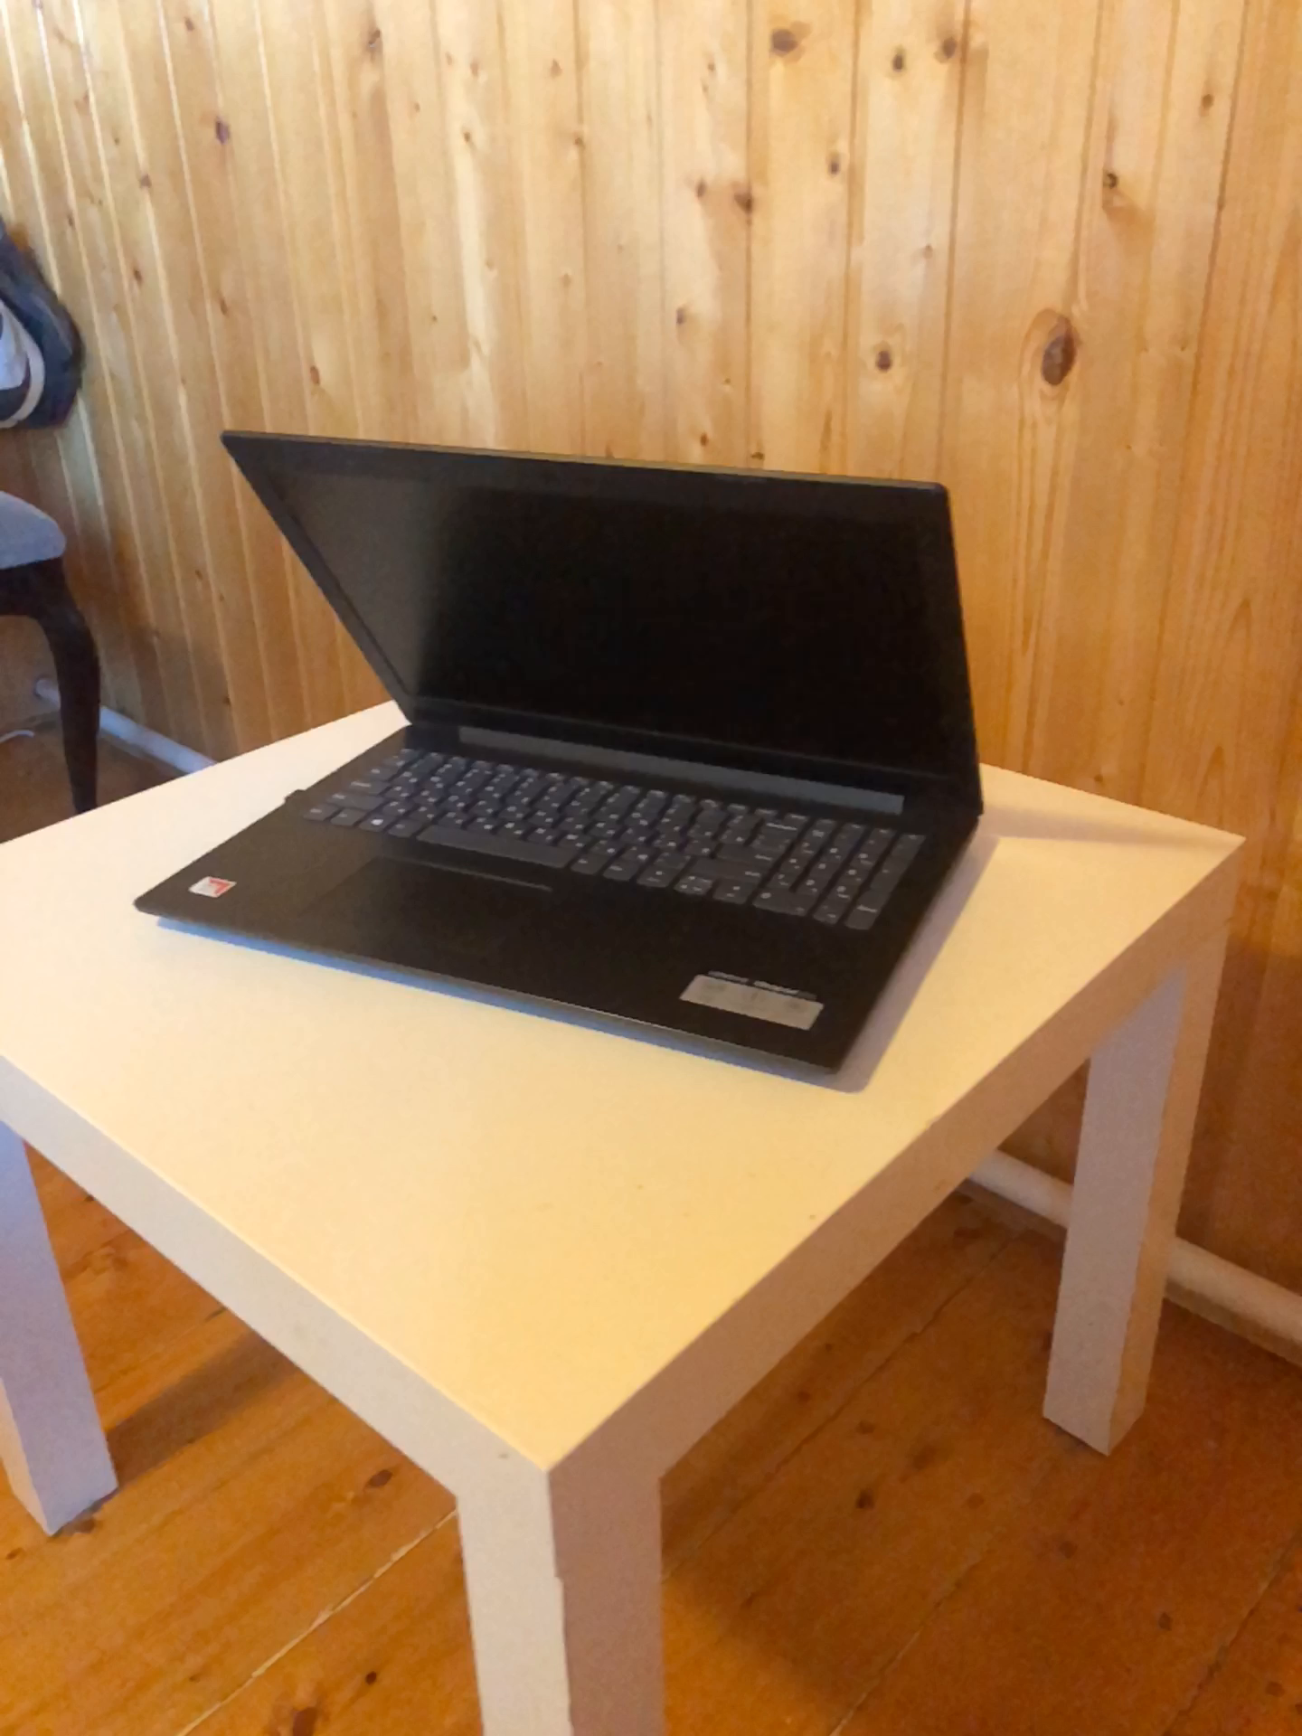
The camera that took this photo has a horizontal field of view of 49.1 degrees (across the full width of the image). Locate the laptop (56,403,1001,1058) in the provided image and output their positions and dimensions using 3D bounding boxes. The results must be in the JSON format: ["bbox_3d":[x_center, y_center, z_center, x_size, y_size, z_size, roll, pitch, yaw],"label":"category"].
[{"bbox_3d":[-0.046,-0.099,0.715,0.373,0.206,0.251,11,29,24],"label":"laptop"}]
